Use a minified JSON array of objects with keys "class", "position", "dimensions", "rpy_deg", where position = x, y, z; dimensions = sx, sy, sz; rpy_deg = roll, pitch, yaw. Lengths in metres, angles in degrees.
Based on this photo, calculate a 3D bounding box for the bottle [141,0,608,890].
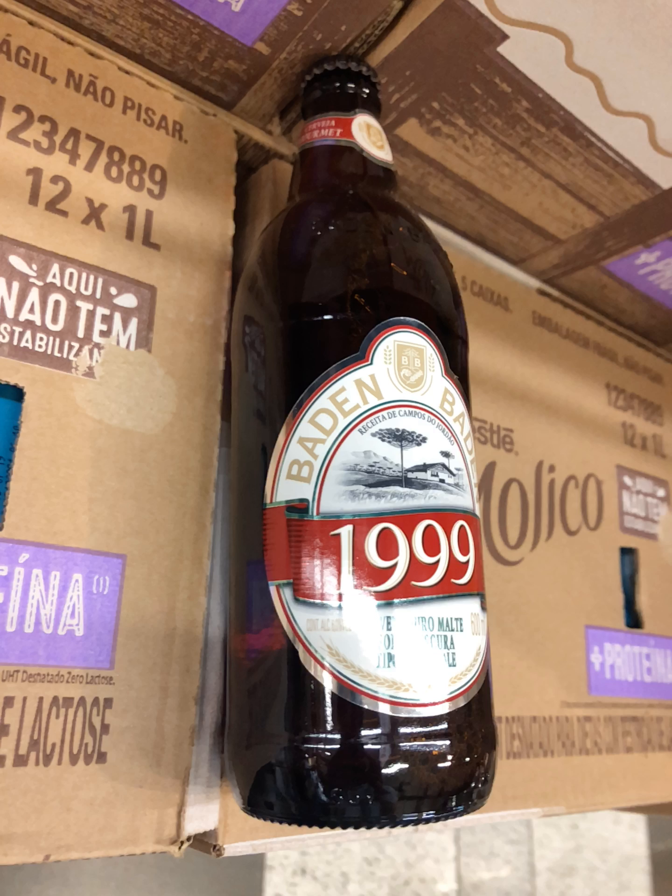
[{"class":"bottle","position":[-0.001,-0.031,0.251],"dimensions":[0.091,0.099,0.280],"rpy_deg":[8,71,-37]}]
